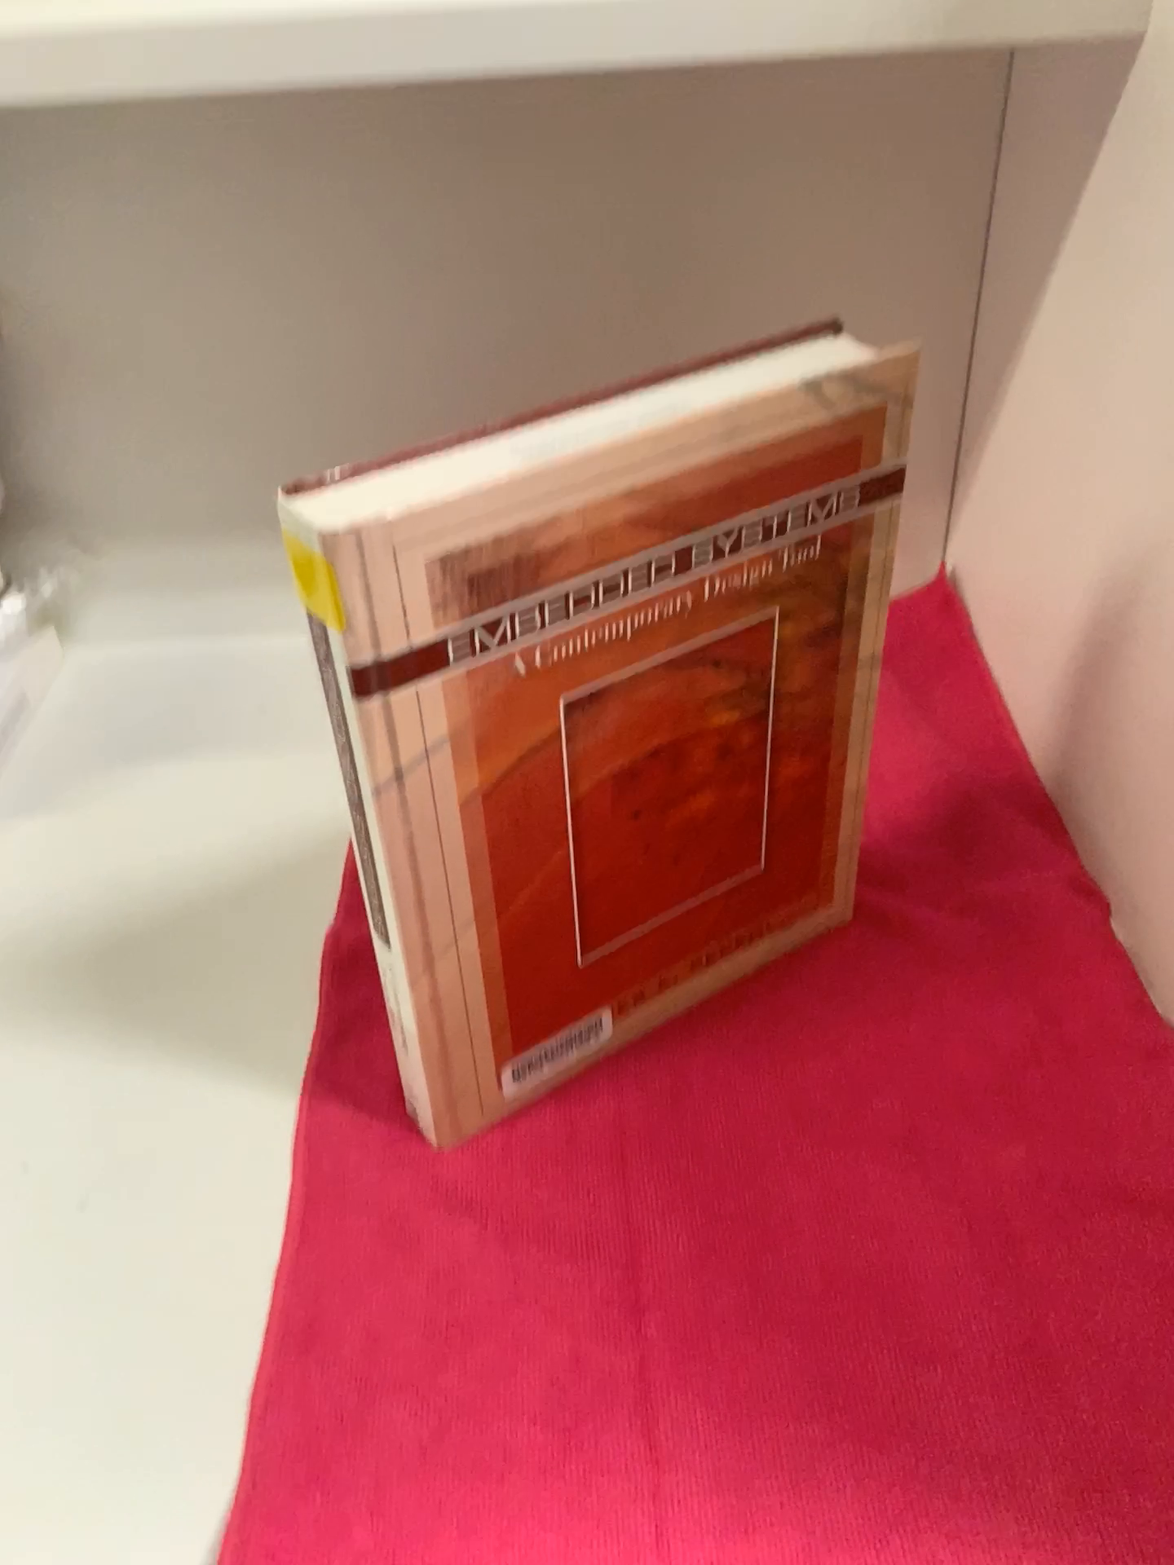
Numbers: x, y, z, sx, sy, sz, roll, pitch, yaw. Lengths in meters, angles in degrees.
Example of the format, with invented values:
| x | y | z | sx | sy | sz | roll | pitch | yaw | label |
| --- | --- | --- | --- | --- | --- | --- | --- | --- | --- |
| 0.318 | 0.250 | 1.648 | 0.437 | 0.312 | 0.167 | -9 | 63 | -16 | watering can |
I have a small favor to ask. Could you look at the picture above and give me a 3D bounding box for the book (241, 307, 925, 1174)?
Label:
| x | y | z | sx | sy | sz | roll | pitch | yaw | label |
| --- | --- | --- | --- | --- | --- | --- | --- | --- | --- |
| 0.014 | -0.009 | 0.430 | 0.212 | 0.258 | 0.044 | -25 | 42 | -26 | book |
